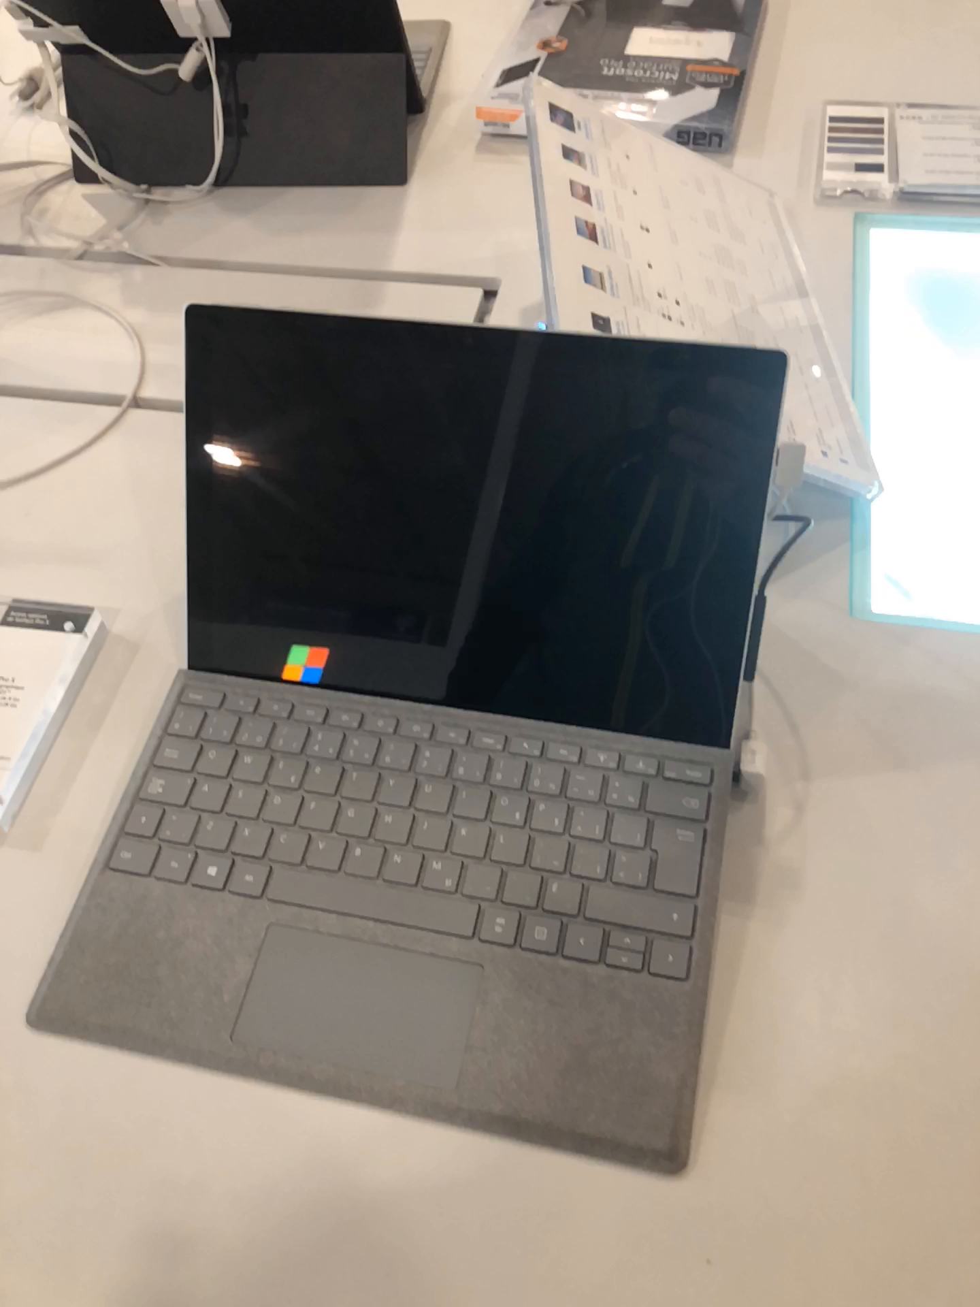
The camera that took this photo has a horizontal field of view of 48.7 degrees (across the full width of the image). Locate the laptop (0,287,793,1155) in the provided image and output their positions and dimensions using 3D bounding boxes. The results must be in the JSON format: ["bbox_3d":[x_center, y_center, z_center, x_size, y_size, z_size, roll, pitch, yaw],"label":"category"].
[{"bbox_3d":[-0.036,0.011,0.469,0.279,0.147,0.298,8,57,11],"label":"laptop"}]
